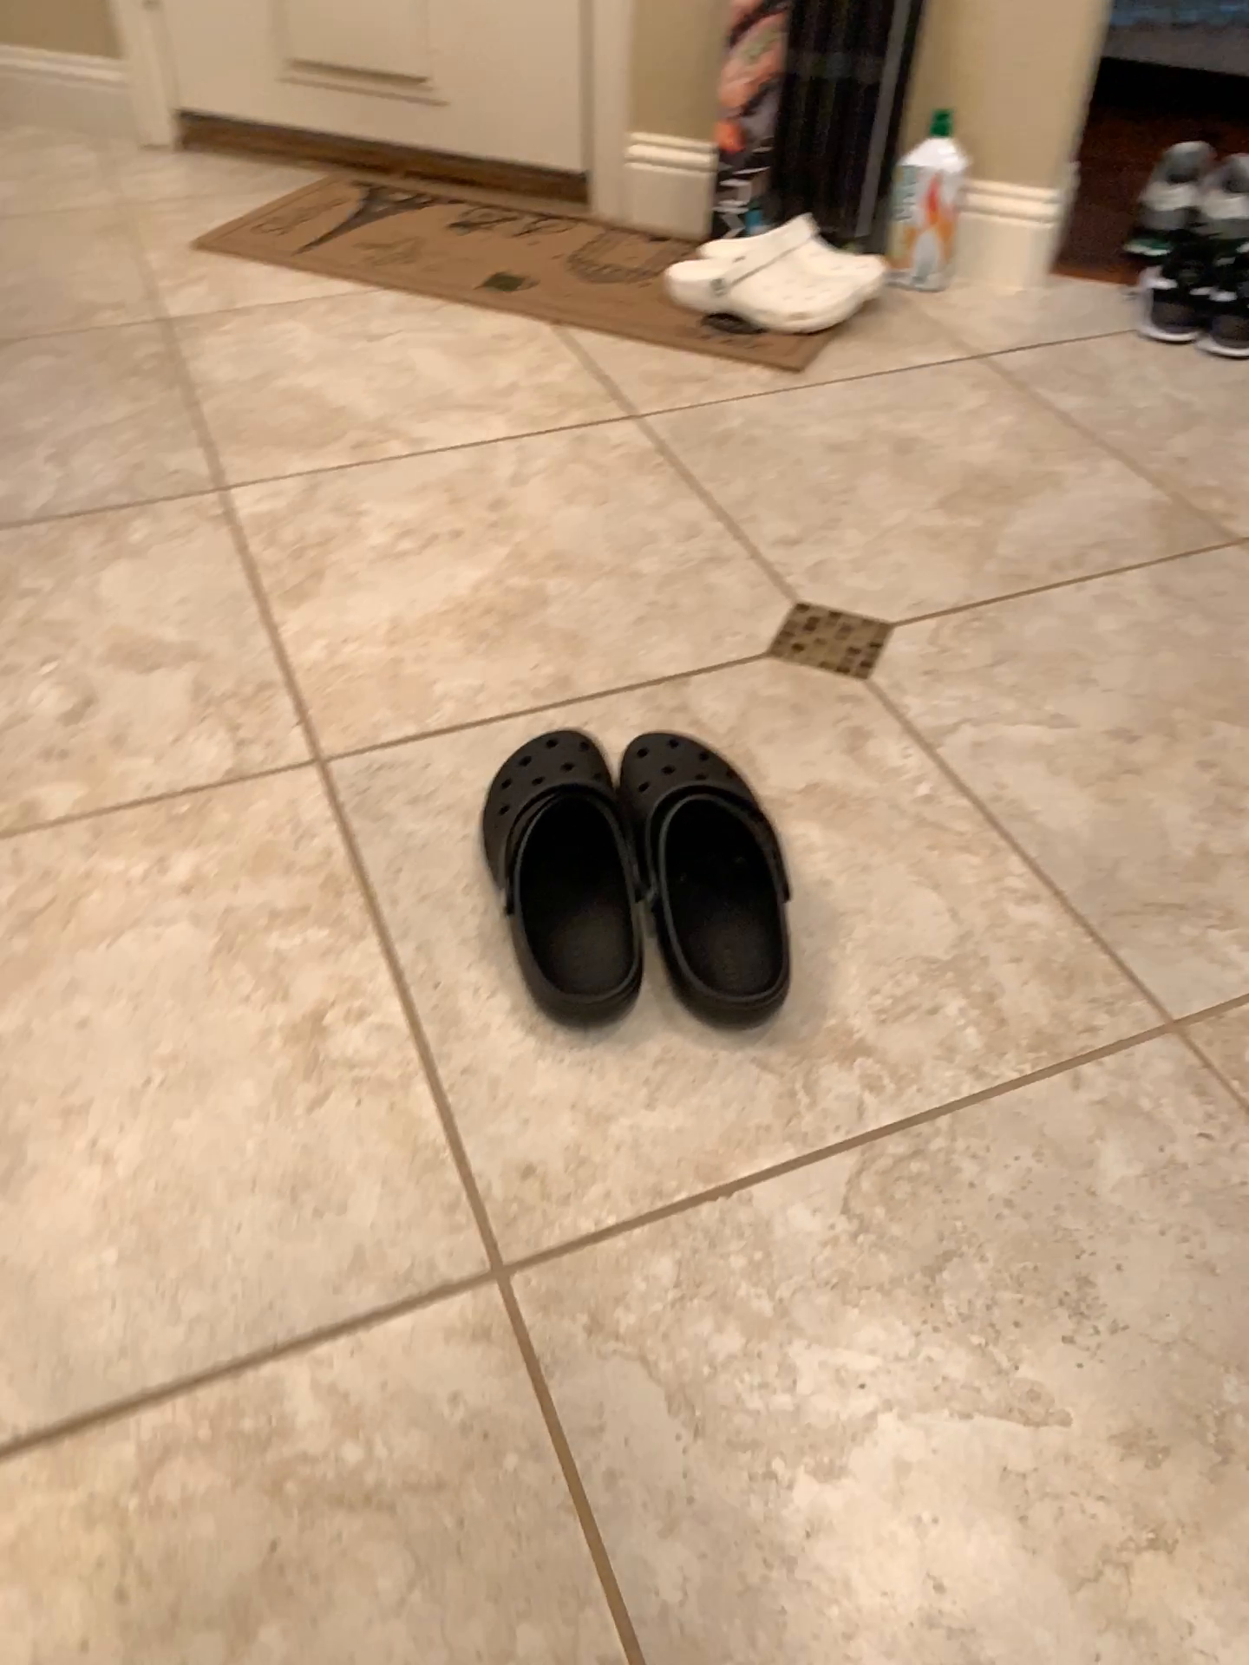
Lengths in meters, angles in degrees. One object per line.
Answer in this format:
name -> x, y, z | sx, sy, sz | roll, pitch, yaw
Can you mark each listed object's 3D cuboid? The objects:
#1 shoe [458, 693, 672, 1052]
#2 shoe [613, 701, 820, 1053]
shoe -> -0.051, 0.019, 0.950 | 0.123, 0.085, 0.279 | -5, 43, -7
shoe -> 0.058, 0.022, 0.951 | 0.113, 0.085, 0.279 | -2, 43, -4
